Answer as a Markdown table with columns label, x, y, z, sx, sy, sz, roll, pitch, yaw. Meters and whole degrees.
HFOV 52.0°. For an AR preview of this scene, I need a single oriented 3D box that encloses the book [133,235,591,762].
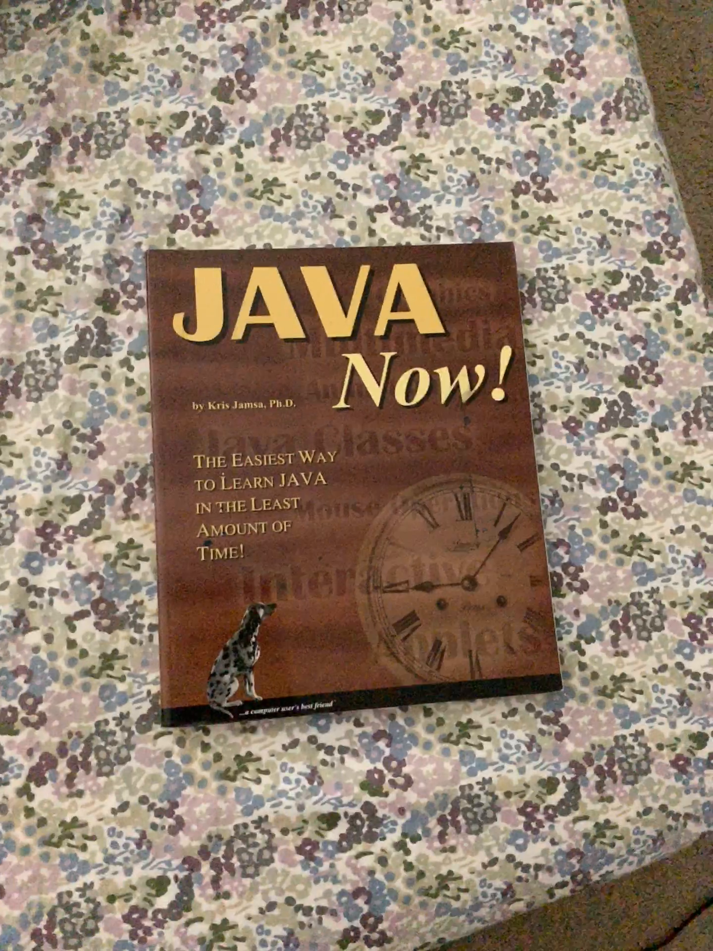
| label | x | y | z | sx | sy | sz | roll | pitch | yaw |
| --- | --- | --- | --- | --- | --- | --- | --- | --- | --- |
| book | 0.001 | 0.003 | 0.392 | 0.220 | 0.030 | 0.260 | -3 | 83 | -8 |
